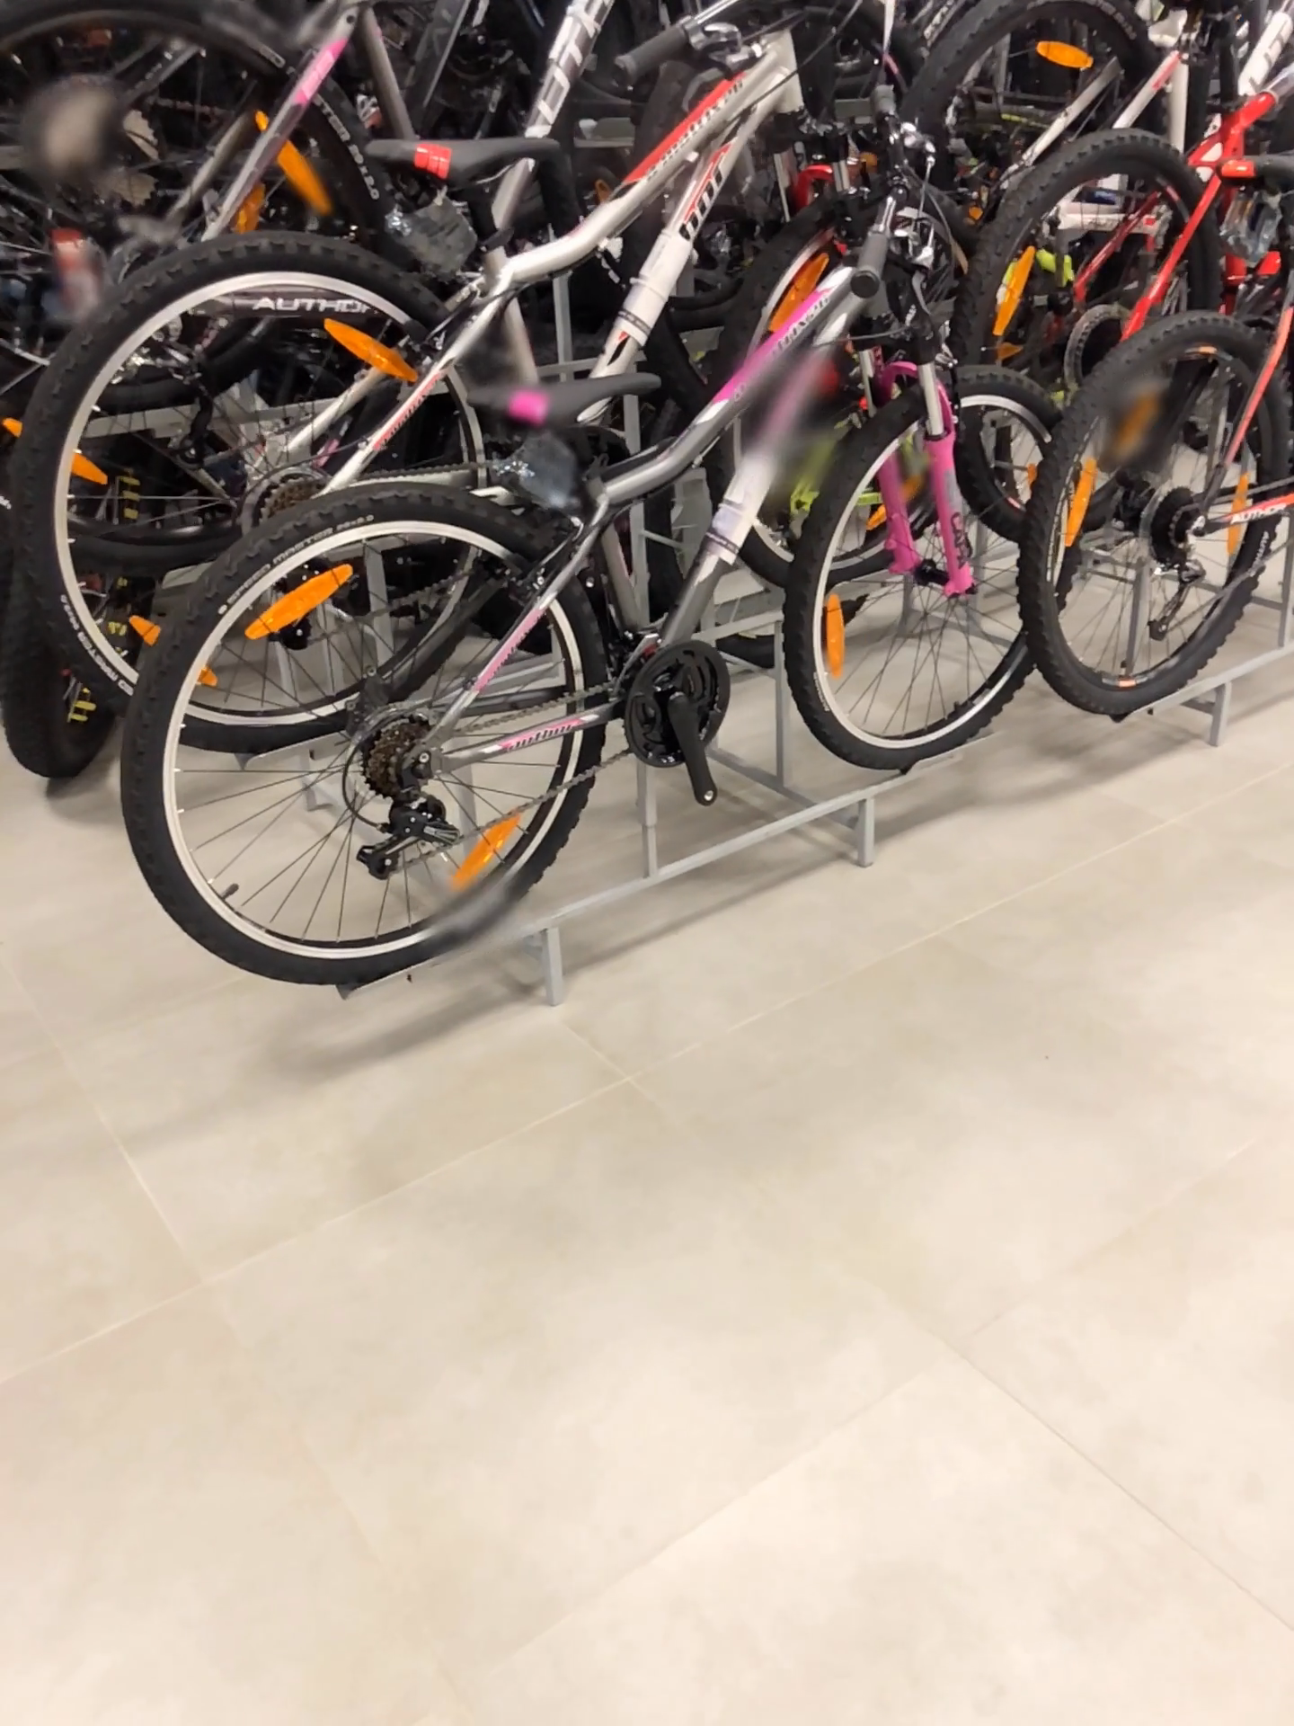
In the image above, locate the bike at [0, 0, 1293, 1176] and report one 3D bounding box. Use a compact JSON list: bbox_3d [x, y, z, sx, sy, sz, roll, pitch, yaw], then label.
[{"bbox_3d":[0.063,-0.537,1.867,1.609,0.990,0.600,-24,34,-29],"label":"bike"}]
